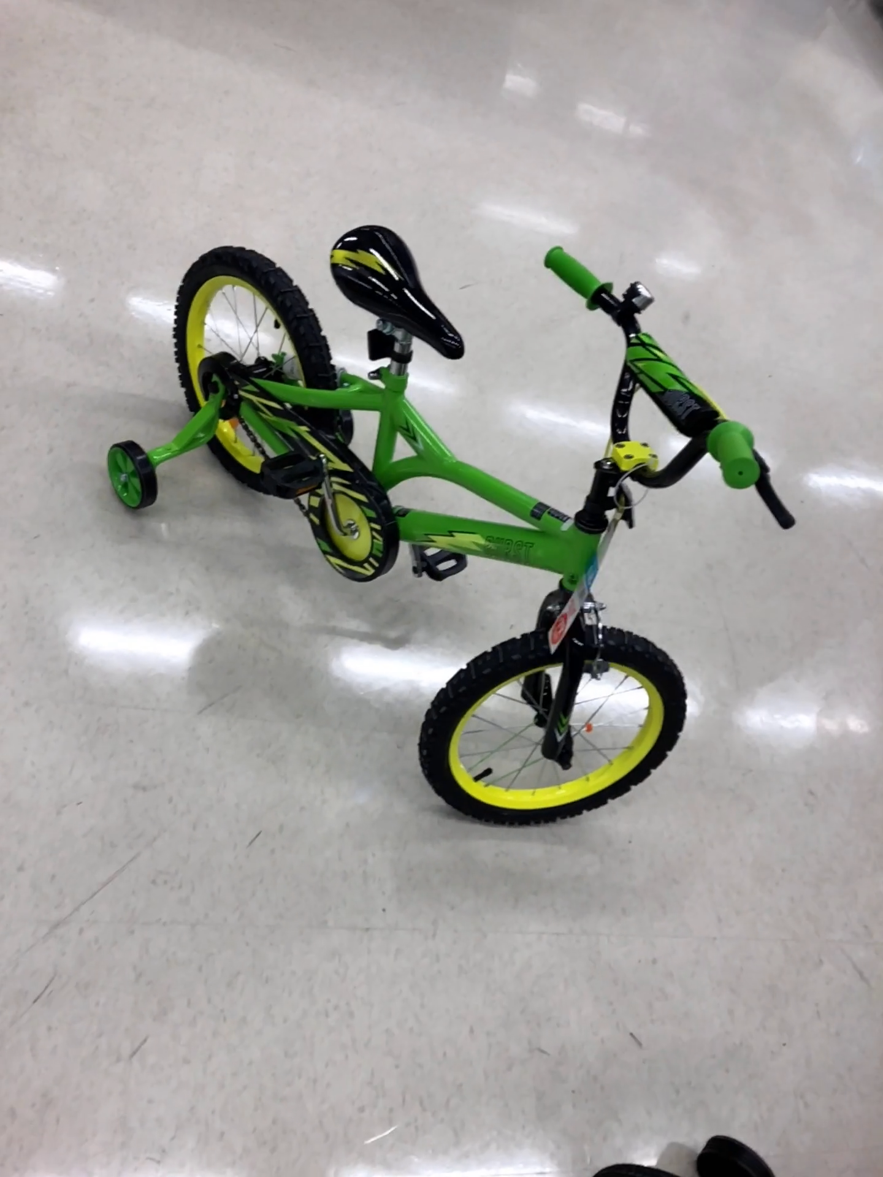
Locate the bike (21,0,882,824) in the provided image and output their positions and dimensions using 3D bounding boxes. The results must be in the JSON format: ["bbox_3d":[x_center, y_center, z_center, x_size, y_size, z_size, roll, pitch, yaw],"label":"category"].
[{"bbox_3d":[0.065,-0.310,1.319,1.045,0.807,0.554,40,49,12],"label":"bike"}]
